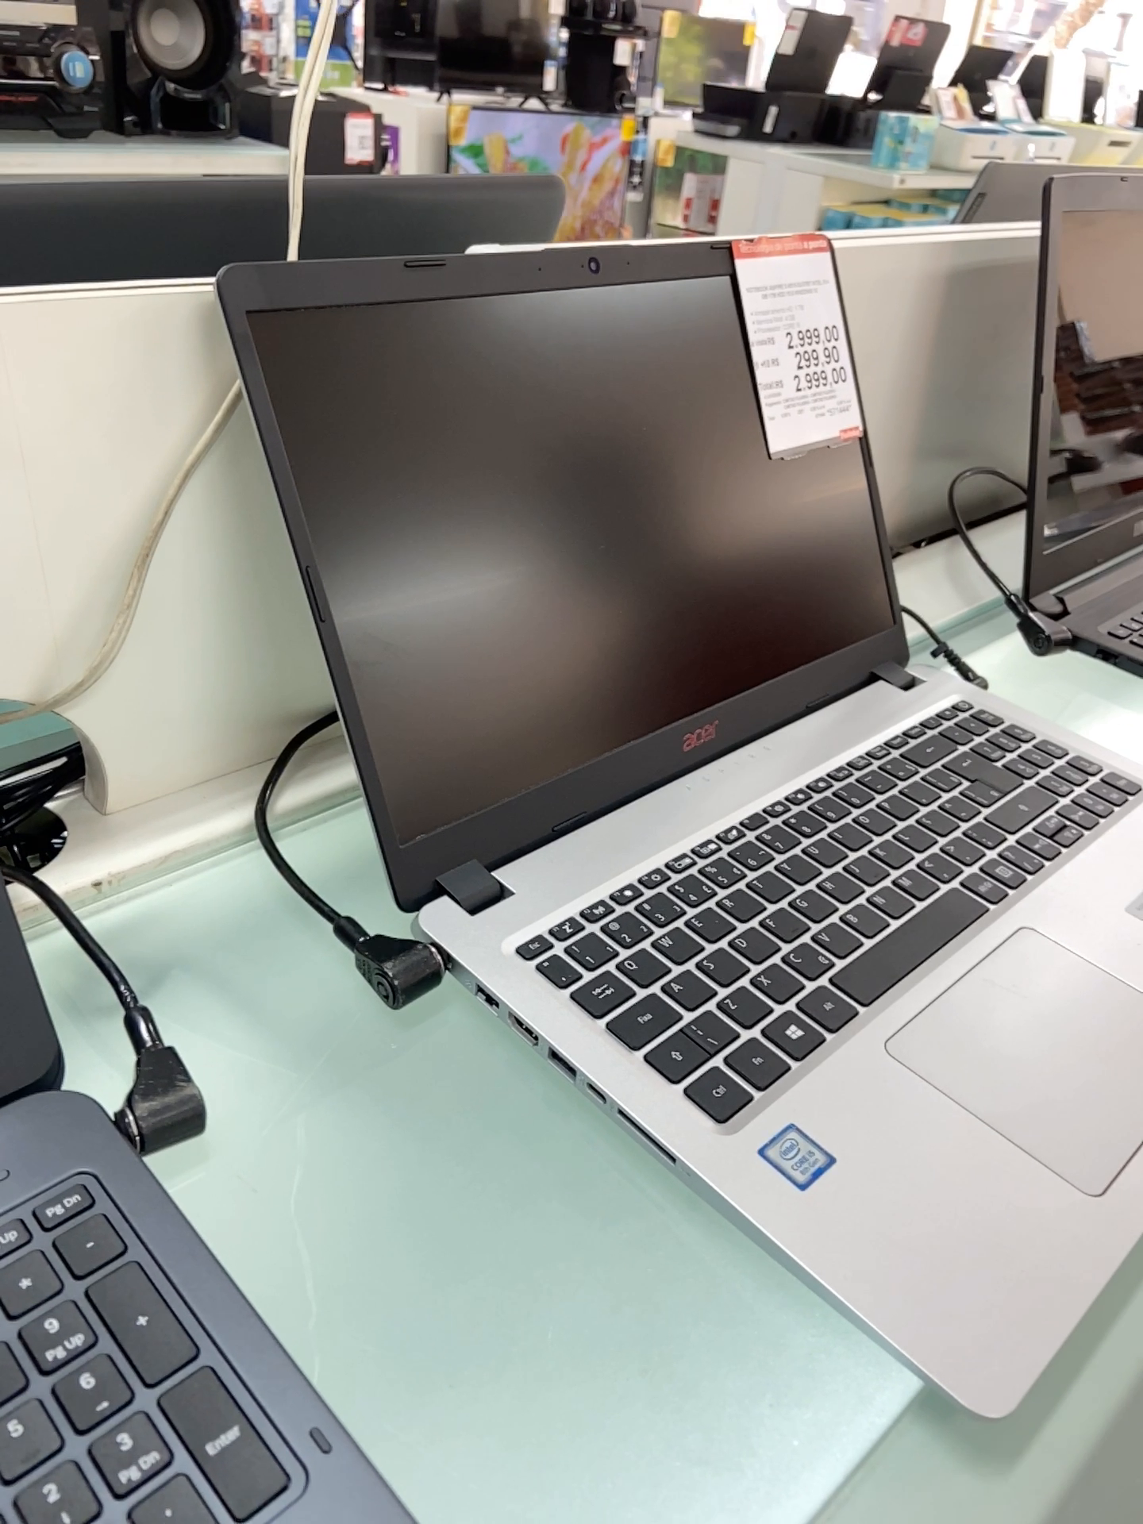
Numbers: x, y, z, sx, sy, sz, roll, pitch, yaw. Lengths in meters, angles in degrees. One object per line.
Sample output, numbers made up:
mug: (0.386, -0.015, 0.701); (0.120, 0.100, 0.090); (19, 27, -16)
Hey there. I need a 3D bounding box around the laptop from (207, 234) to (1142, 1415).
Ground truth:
laptop: (0.122, -0.060, 0.472); (0.368, 0.205, 0.373); (-23, 43, -39)
